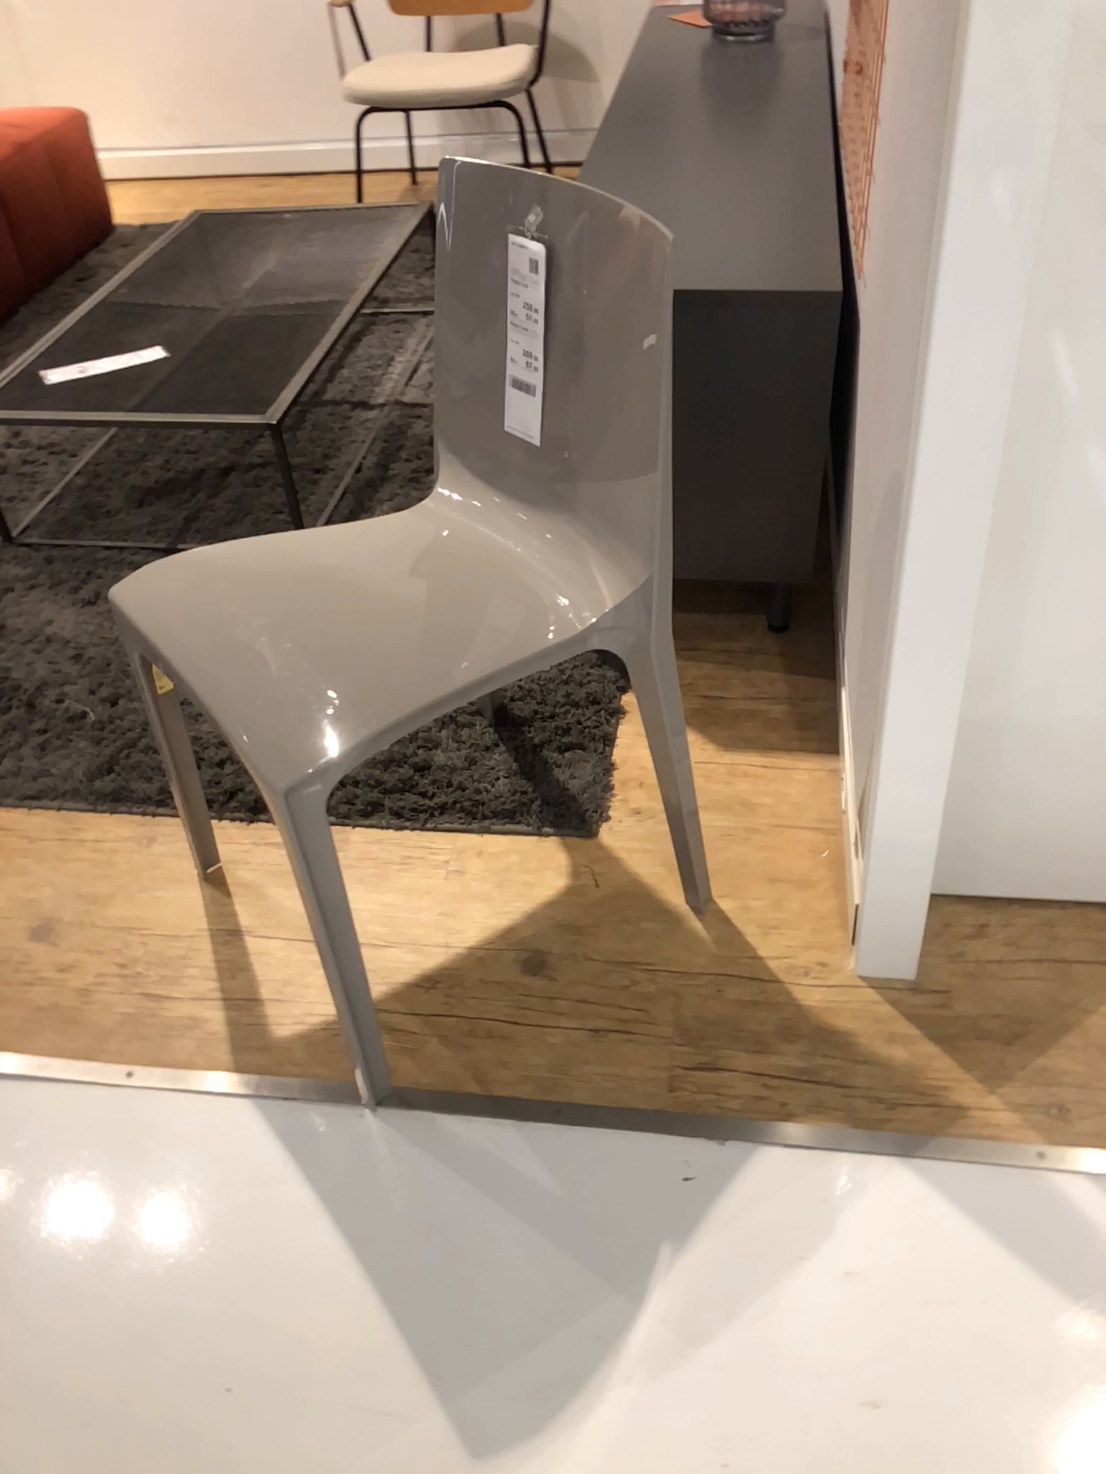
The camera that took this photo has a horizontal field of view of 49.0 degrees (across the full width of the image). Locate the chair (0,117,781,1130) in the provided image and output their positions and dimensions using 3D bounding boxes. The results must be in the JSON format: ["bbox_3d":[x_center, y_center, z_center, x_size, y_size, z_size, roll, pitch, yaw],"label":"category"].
[{"bbox_3d":[-0.164,-0.136,1.271,0.561,0.754,0.523,-26,44,-22],"label":"chair"}]
